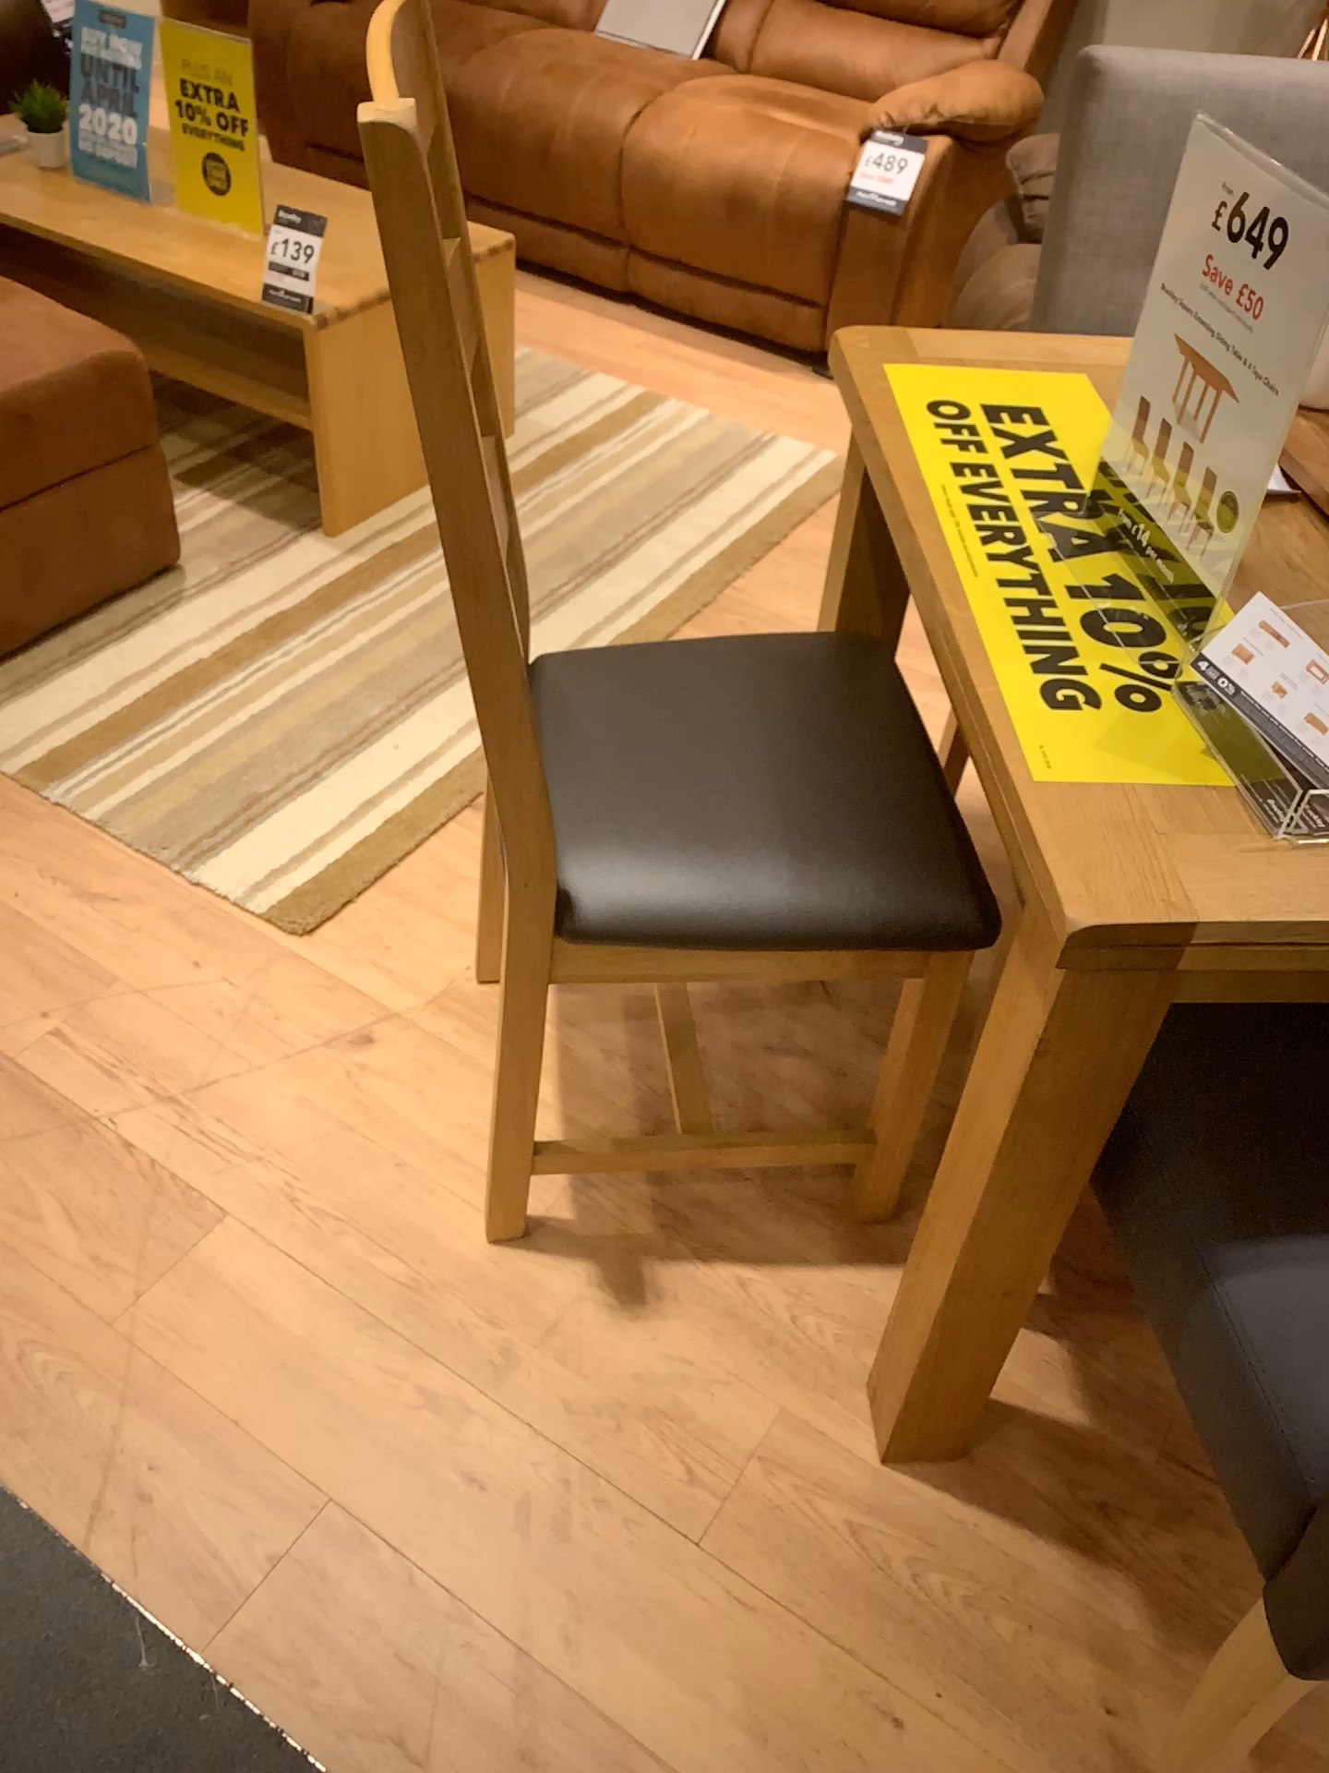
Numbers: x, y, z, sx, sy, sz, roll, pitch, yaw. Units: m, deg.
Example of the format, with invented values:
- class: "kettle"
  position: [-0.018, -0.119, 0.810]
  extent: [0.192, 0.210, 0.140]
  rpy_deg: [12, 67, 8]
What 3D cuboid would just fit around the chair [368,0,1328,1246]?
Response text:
- class: "chair"
  position: [0.064, -0.207, 1.214]
  extent: [0.576, 0.958, 0.559]
  rpy_deg: [-3, 45, -9]
